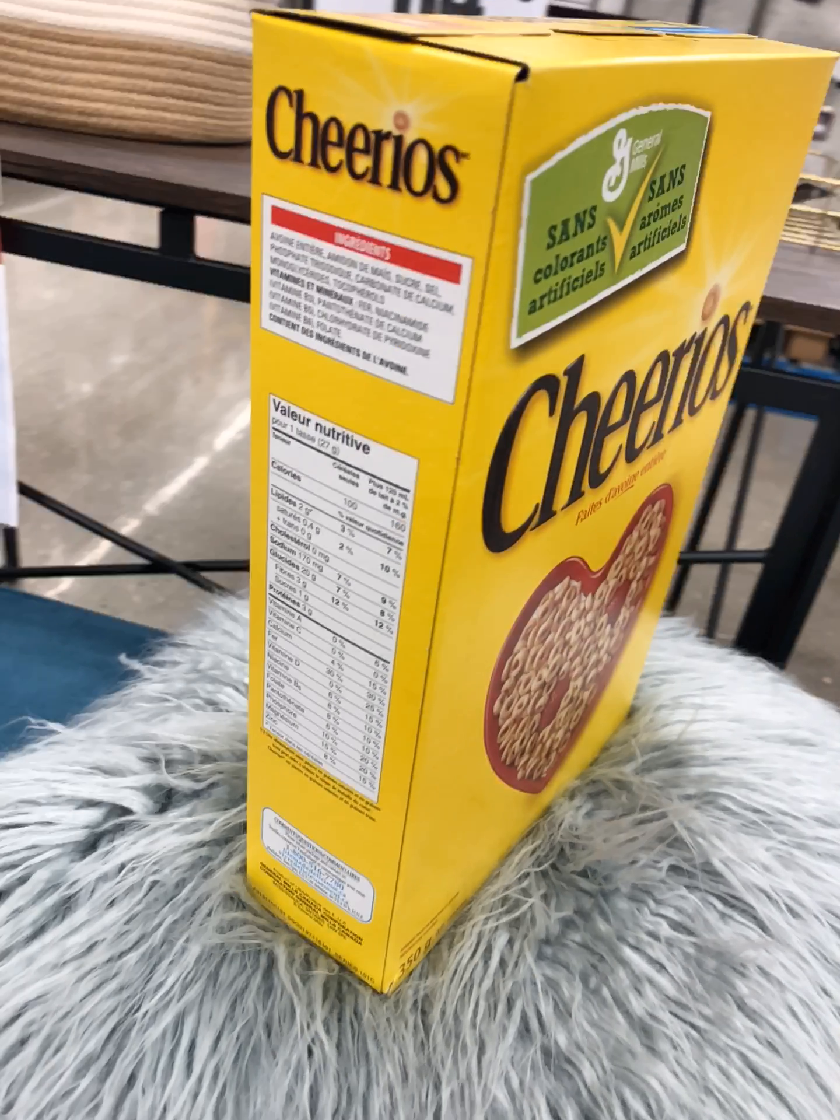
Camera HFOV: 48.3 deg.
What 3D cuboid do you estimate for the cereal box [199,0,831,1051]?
[{"bbox_3d":[0.030,-0.020,0.323,0.080,0.289,0.211,24,34,24],"label":"cereal box"}]
